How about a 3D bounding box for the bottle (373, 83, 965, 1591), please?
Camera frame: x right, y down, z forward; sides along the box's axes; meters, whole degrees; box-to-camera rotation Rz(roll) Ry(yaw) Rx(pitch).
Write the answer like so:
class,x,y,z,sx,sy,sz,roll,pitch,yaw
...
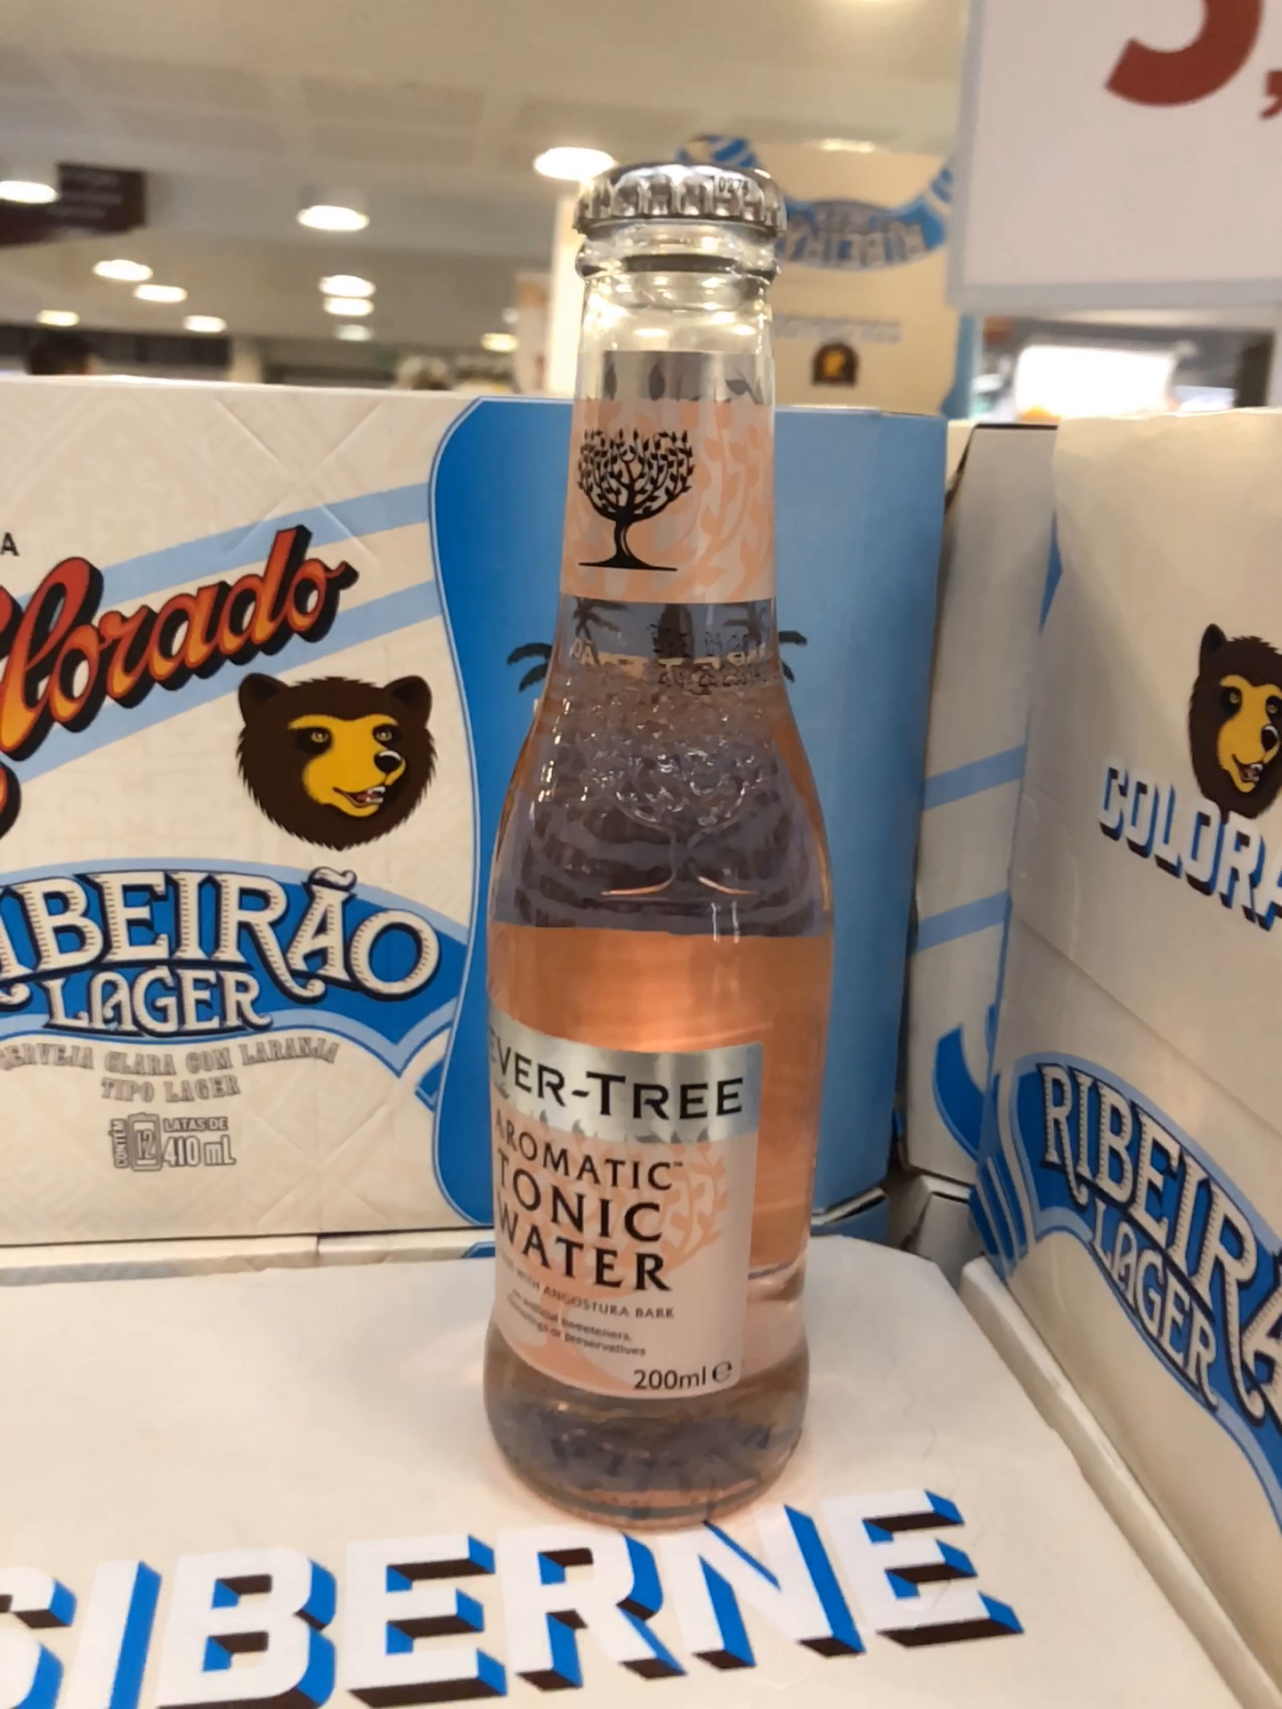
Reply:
class,x,y,z,sx,sy,sz,roll,pitch,yaw
bottle,0.001,0.000,0.211,0.060,0.189,0.050,11,16,31
